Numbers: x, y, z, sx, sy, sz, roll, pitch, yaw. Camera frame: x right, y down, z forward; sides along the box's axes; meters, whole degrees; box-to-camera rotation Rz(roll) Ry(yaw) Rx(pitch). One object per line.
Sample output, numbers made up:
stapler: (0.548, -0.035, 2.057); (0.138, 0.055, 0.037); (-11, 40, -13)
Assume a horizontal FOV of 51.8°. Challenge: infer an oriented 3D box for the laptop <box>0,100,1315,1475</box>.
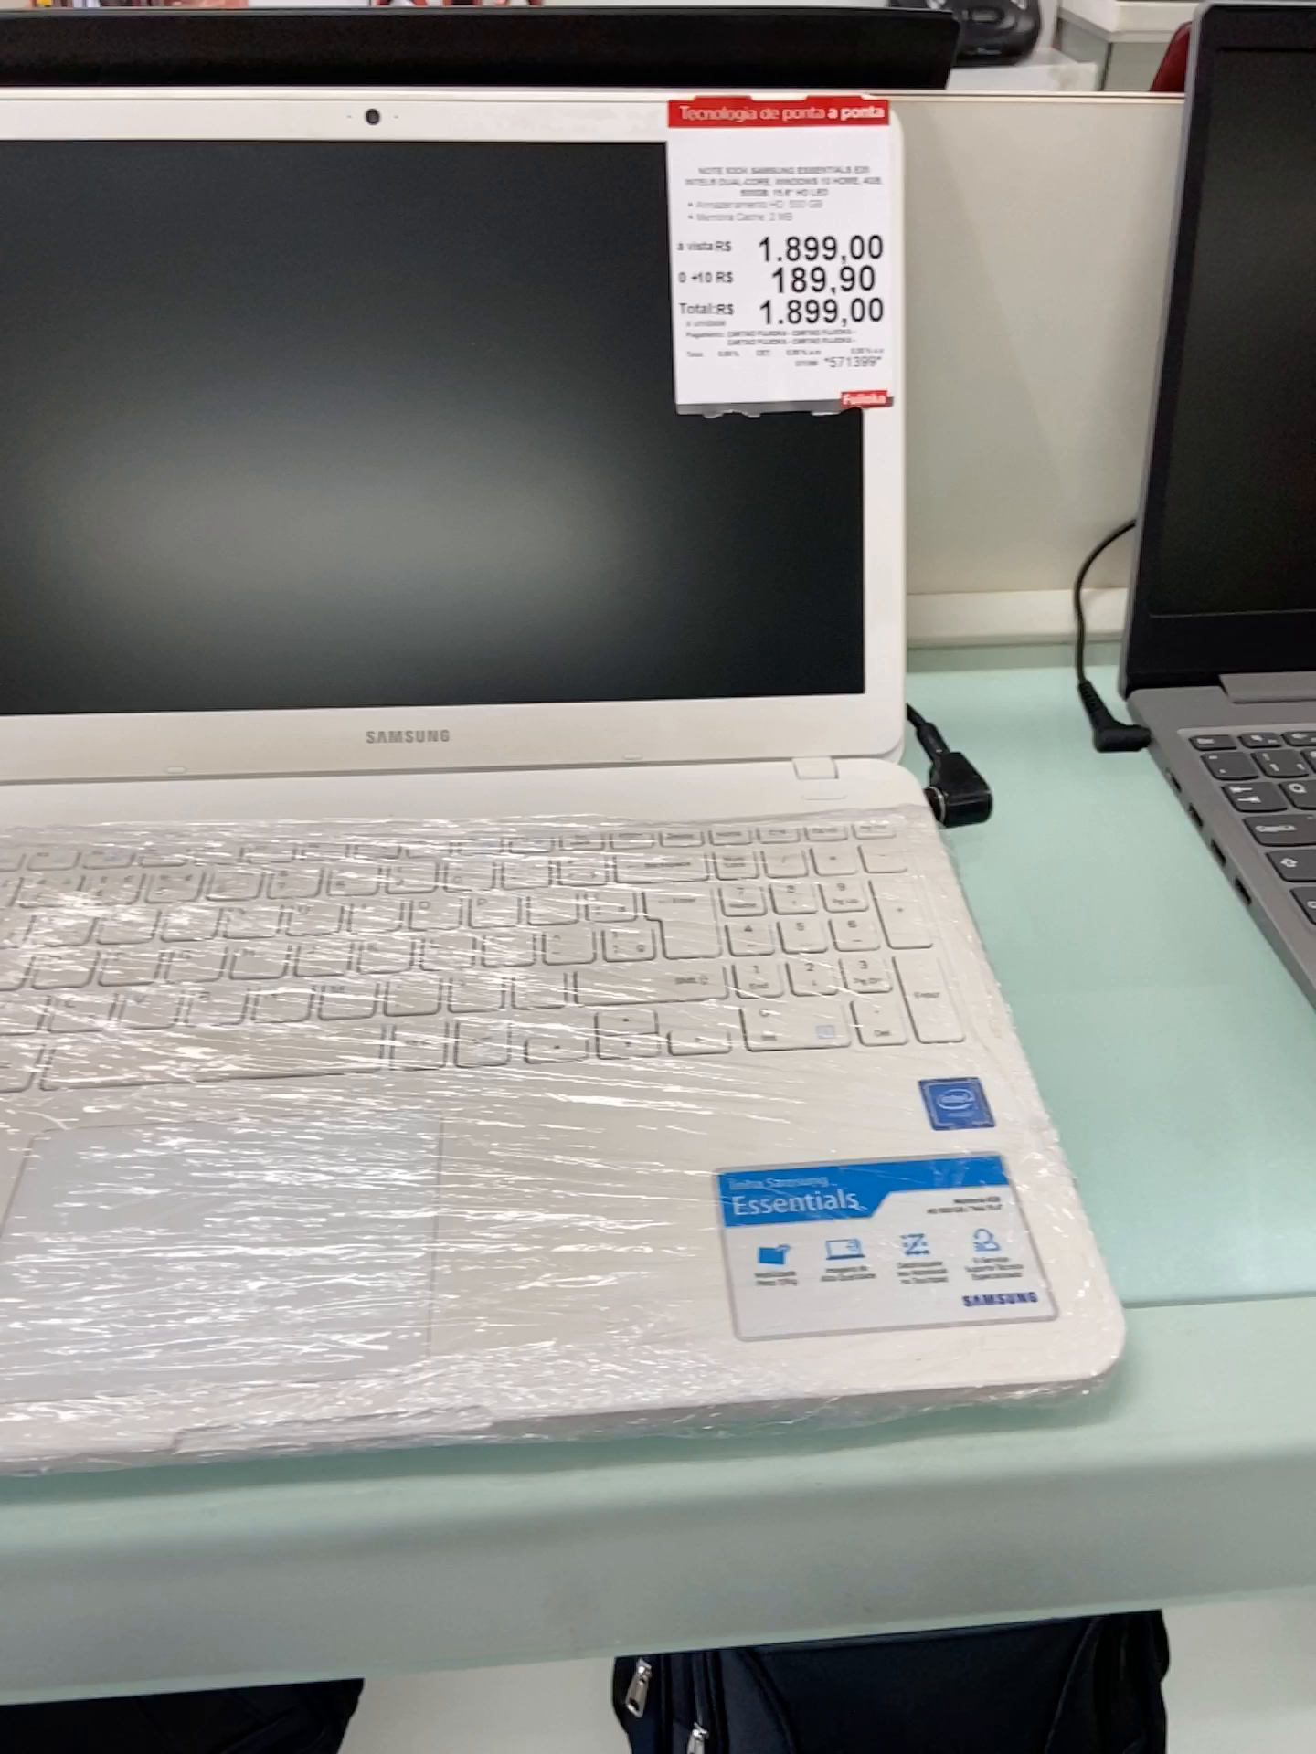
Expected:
laptop: (-0.088, -0.074, 0.398); (0.375, 0.192, 0.383); (-2, 41, -4)
